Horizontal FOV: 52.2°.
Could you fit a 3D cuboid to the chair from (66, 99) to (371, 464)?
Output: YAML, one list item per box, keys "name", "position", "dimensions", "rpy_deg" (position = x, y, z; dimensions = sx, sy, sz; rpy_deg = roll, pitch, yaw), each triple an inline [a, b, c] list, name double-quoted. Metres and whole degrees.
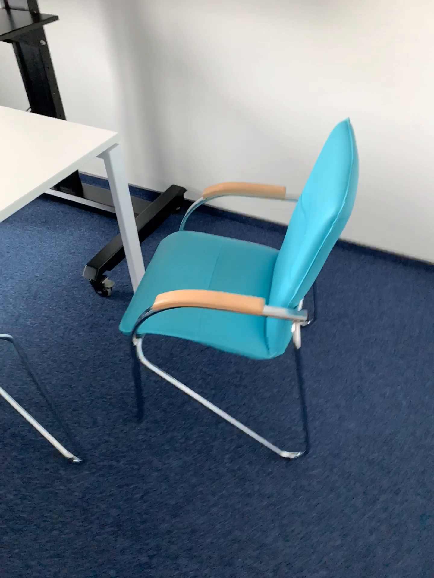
- name: "chair"
  position: [0.056, -0.014, 1.360]
  dimensions: [0.600, 0.846, 0.623]
  rpy_deg: [9, 44, 9]
